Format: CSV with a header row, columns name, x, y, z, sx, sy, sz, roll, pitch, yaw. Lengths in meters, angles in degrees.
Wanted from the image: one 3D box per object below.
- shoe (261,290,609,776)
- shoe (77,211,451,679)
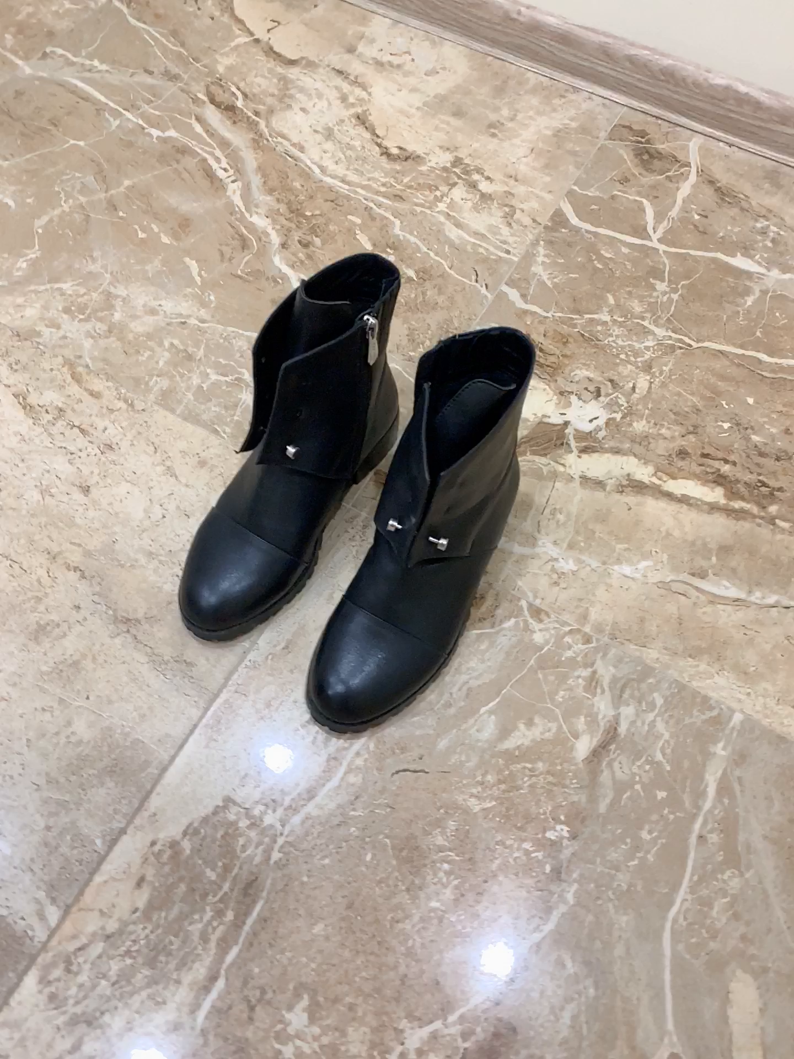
name,x,y,z,sx,sy,sz,roll,pitch,yaw
shoe,0.028,0.011,0.542,0.090,0.199,0.251,26,65,11
shoe,-0.071,-0.049,0.569,0.090,0.199,0.250,29,68,13
